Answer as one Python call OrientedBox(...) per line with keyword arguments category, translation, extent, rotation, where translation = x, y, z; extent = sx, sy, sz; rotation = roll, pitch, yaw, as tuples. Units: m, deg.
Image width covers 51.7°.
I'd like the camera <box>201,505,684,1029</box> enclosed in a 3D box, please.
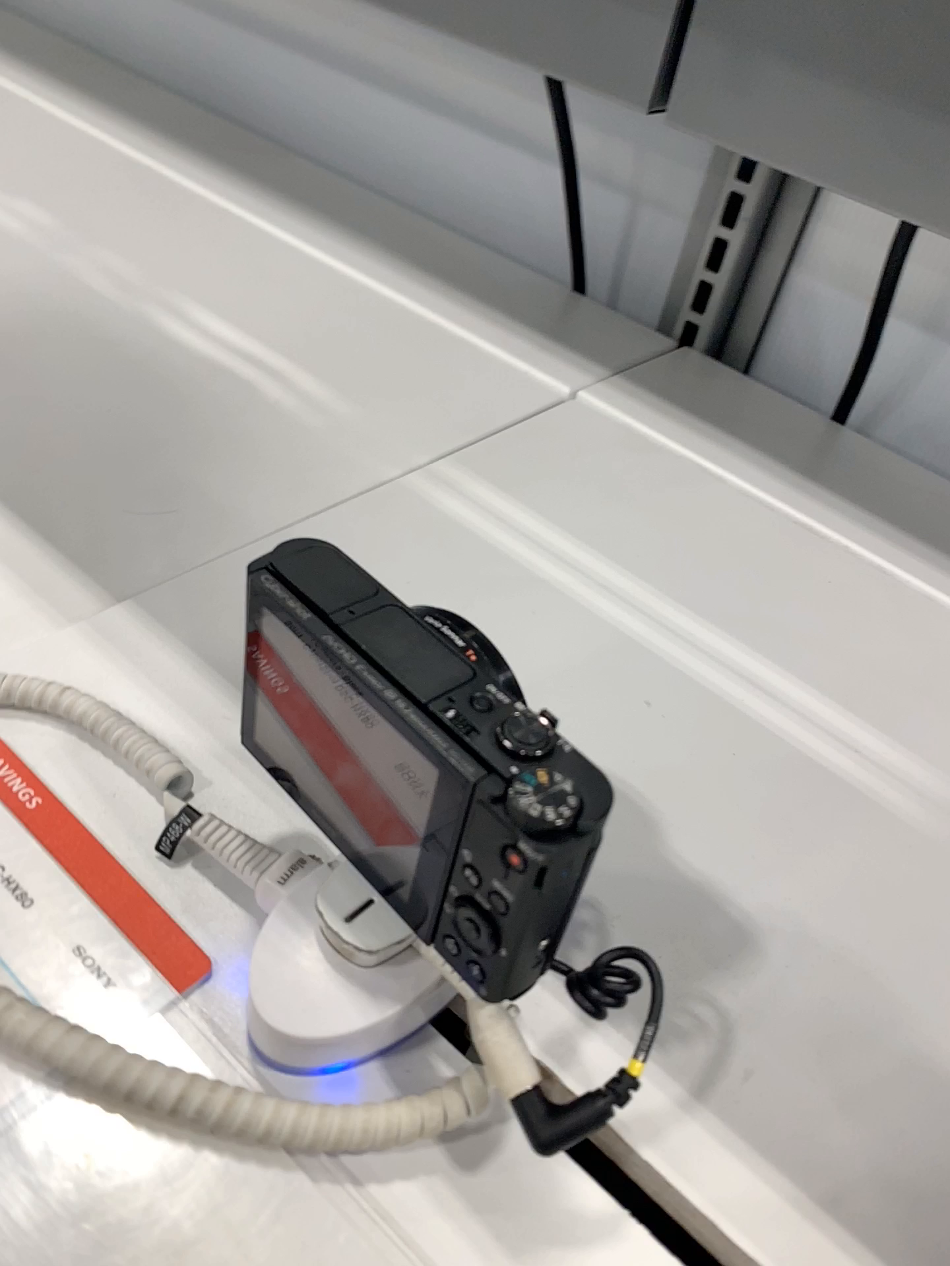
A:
OrientedBox(category="camera", translation=(-0.014, 0.025, 0.220), extent=(0.104, 0.052, 0.040), rotation=(40, 46, 26))
